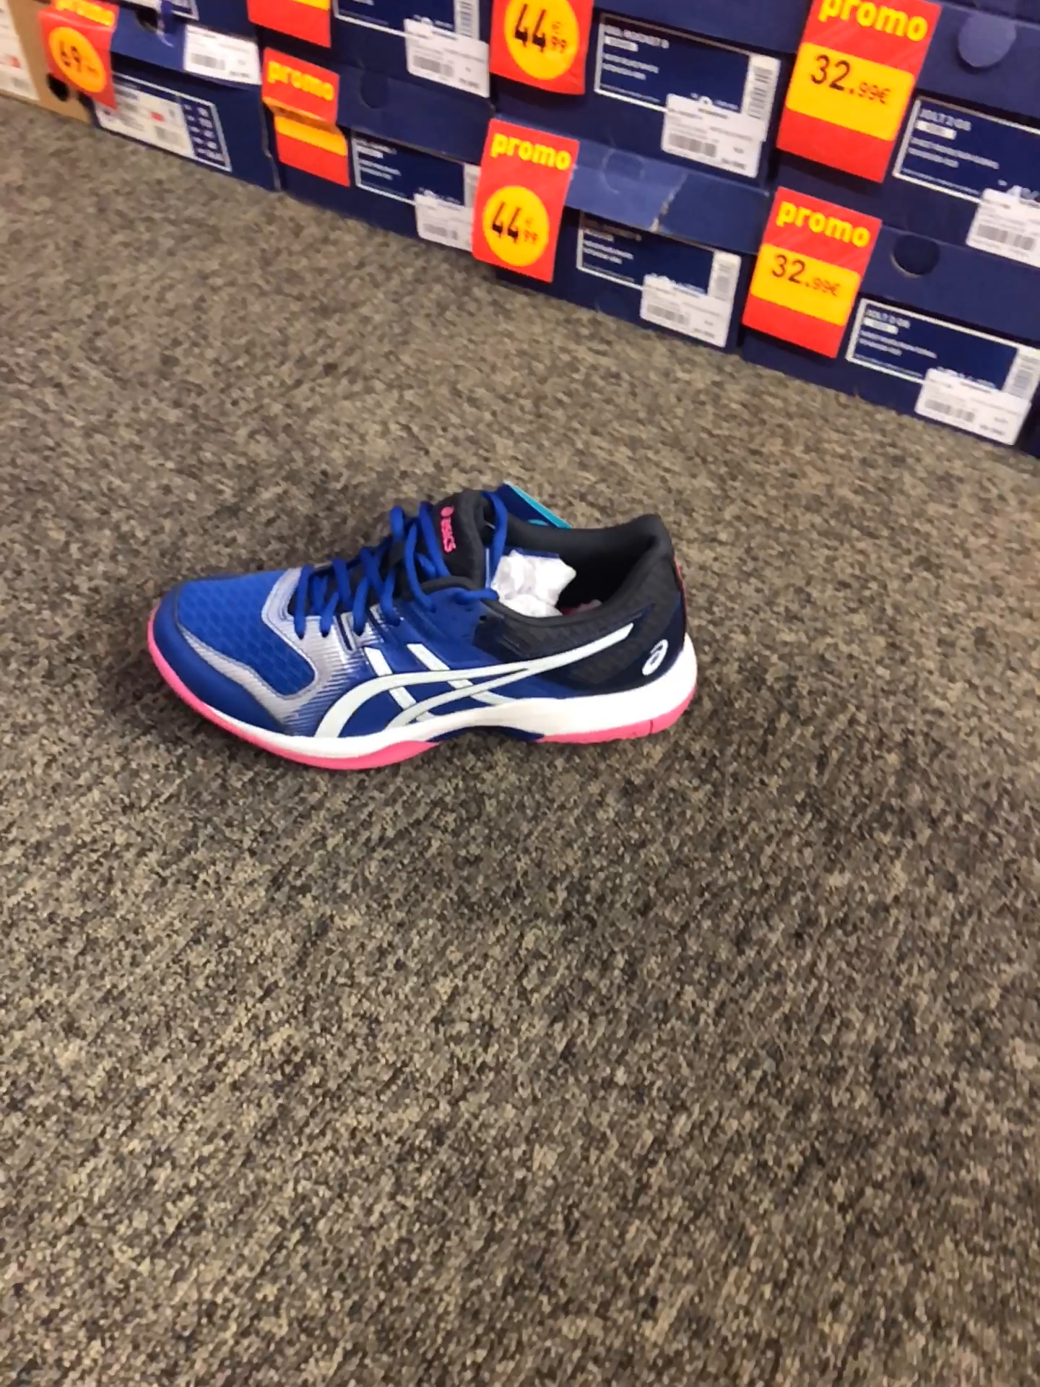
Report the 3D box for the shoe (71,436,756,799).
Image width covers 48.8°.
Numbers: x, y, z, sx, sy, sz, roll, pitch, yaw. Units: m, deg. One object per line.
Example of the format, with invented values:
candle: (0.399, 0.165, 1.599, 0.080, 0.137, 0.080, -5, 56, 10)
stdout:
shoe: (-0.041, -0.036, 0.531, 0.270, 0.099, 0.126, 2, 50, 0)
